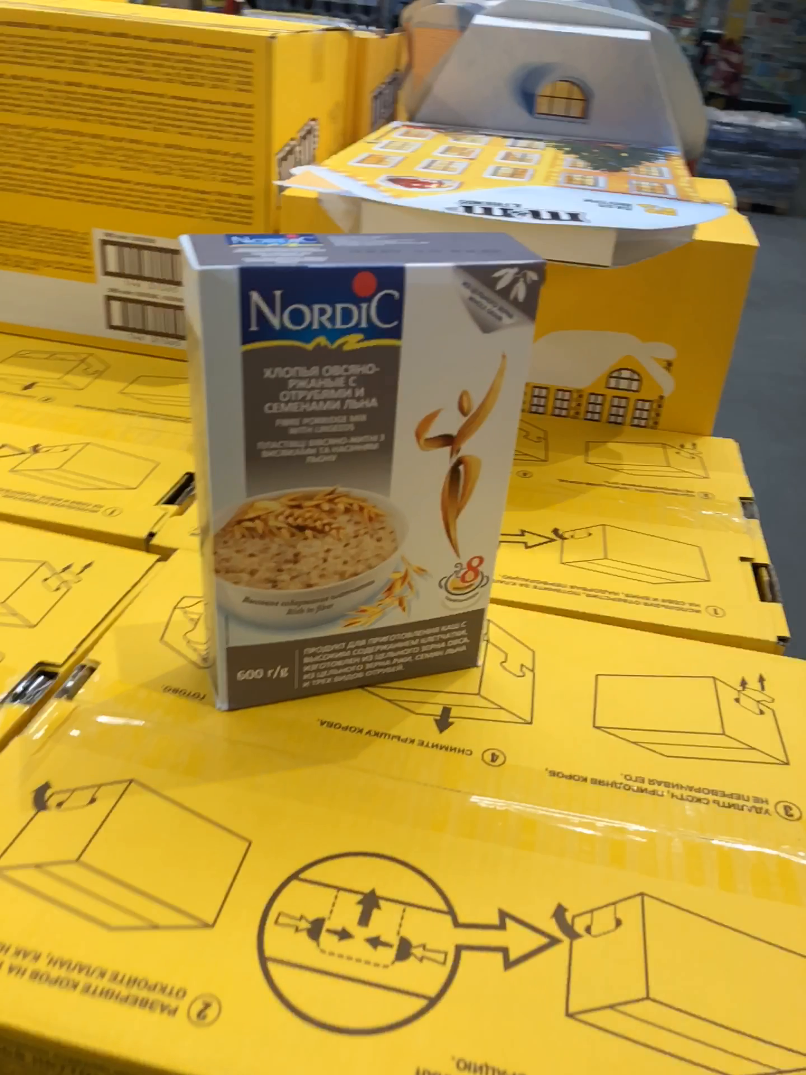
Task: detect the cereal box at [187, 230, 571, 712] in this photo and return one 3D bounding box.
[{"bbox_3d":[-0.019,-0.027,0.420,0.150,0.218,0.050,-6,34,-18],"label":"cereal box"}]
